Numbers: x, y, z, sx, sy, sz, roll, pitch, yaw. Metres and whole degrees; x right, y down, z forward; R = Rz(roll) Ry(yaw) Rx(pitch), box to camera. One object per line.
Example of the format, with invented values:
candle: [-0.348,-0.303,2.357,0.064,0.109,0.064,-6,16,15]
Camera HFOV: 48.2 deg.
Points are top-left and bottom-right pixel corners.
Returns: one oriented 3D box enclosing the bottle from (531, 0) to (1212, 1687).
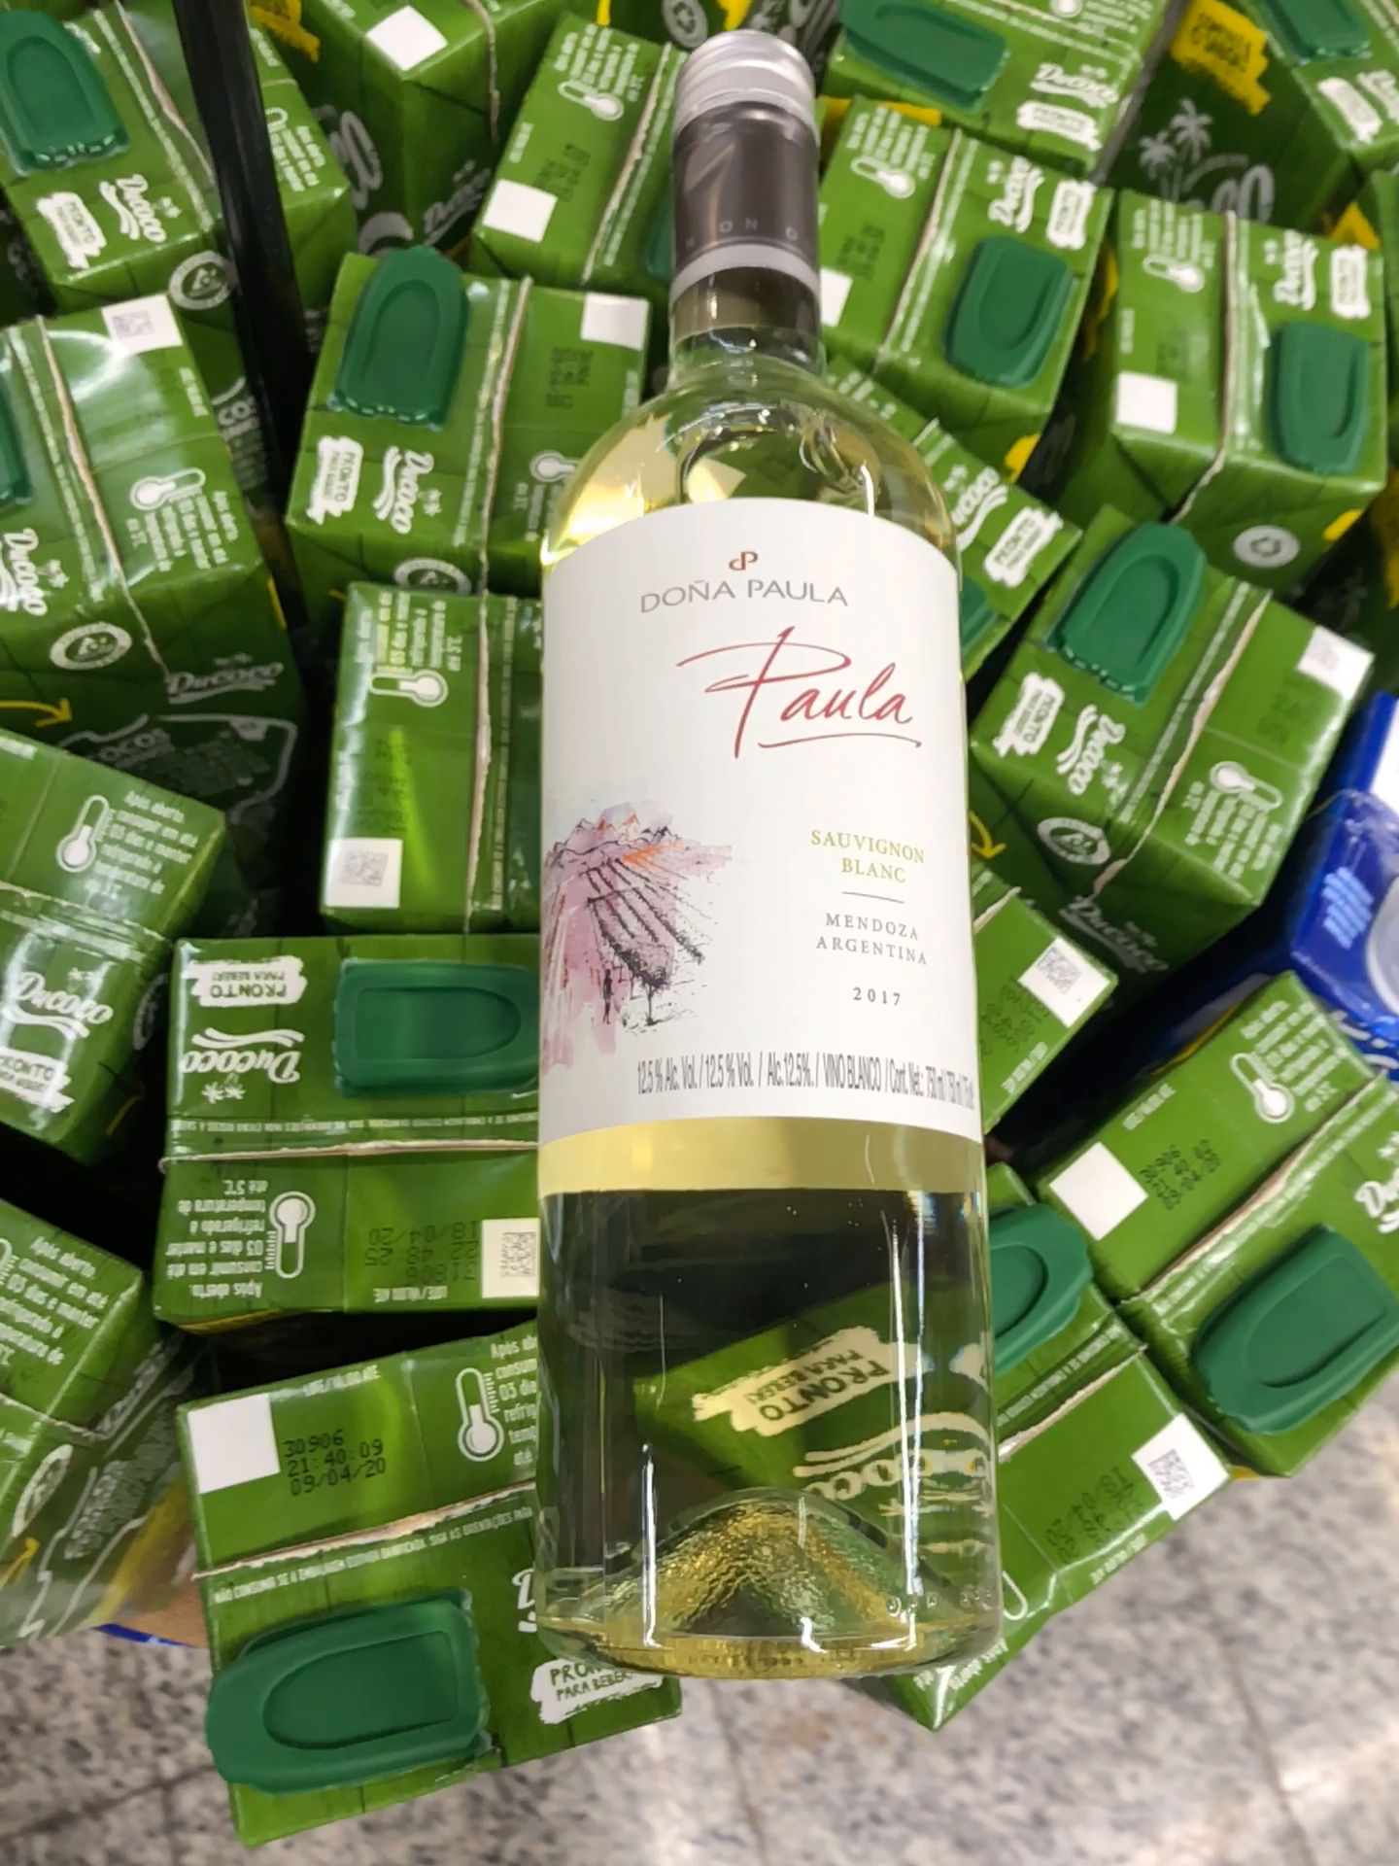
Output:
bottle: [0.015,-0.056,0.273,0.080,0.070,0.331,2,69,-6]
